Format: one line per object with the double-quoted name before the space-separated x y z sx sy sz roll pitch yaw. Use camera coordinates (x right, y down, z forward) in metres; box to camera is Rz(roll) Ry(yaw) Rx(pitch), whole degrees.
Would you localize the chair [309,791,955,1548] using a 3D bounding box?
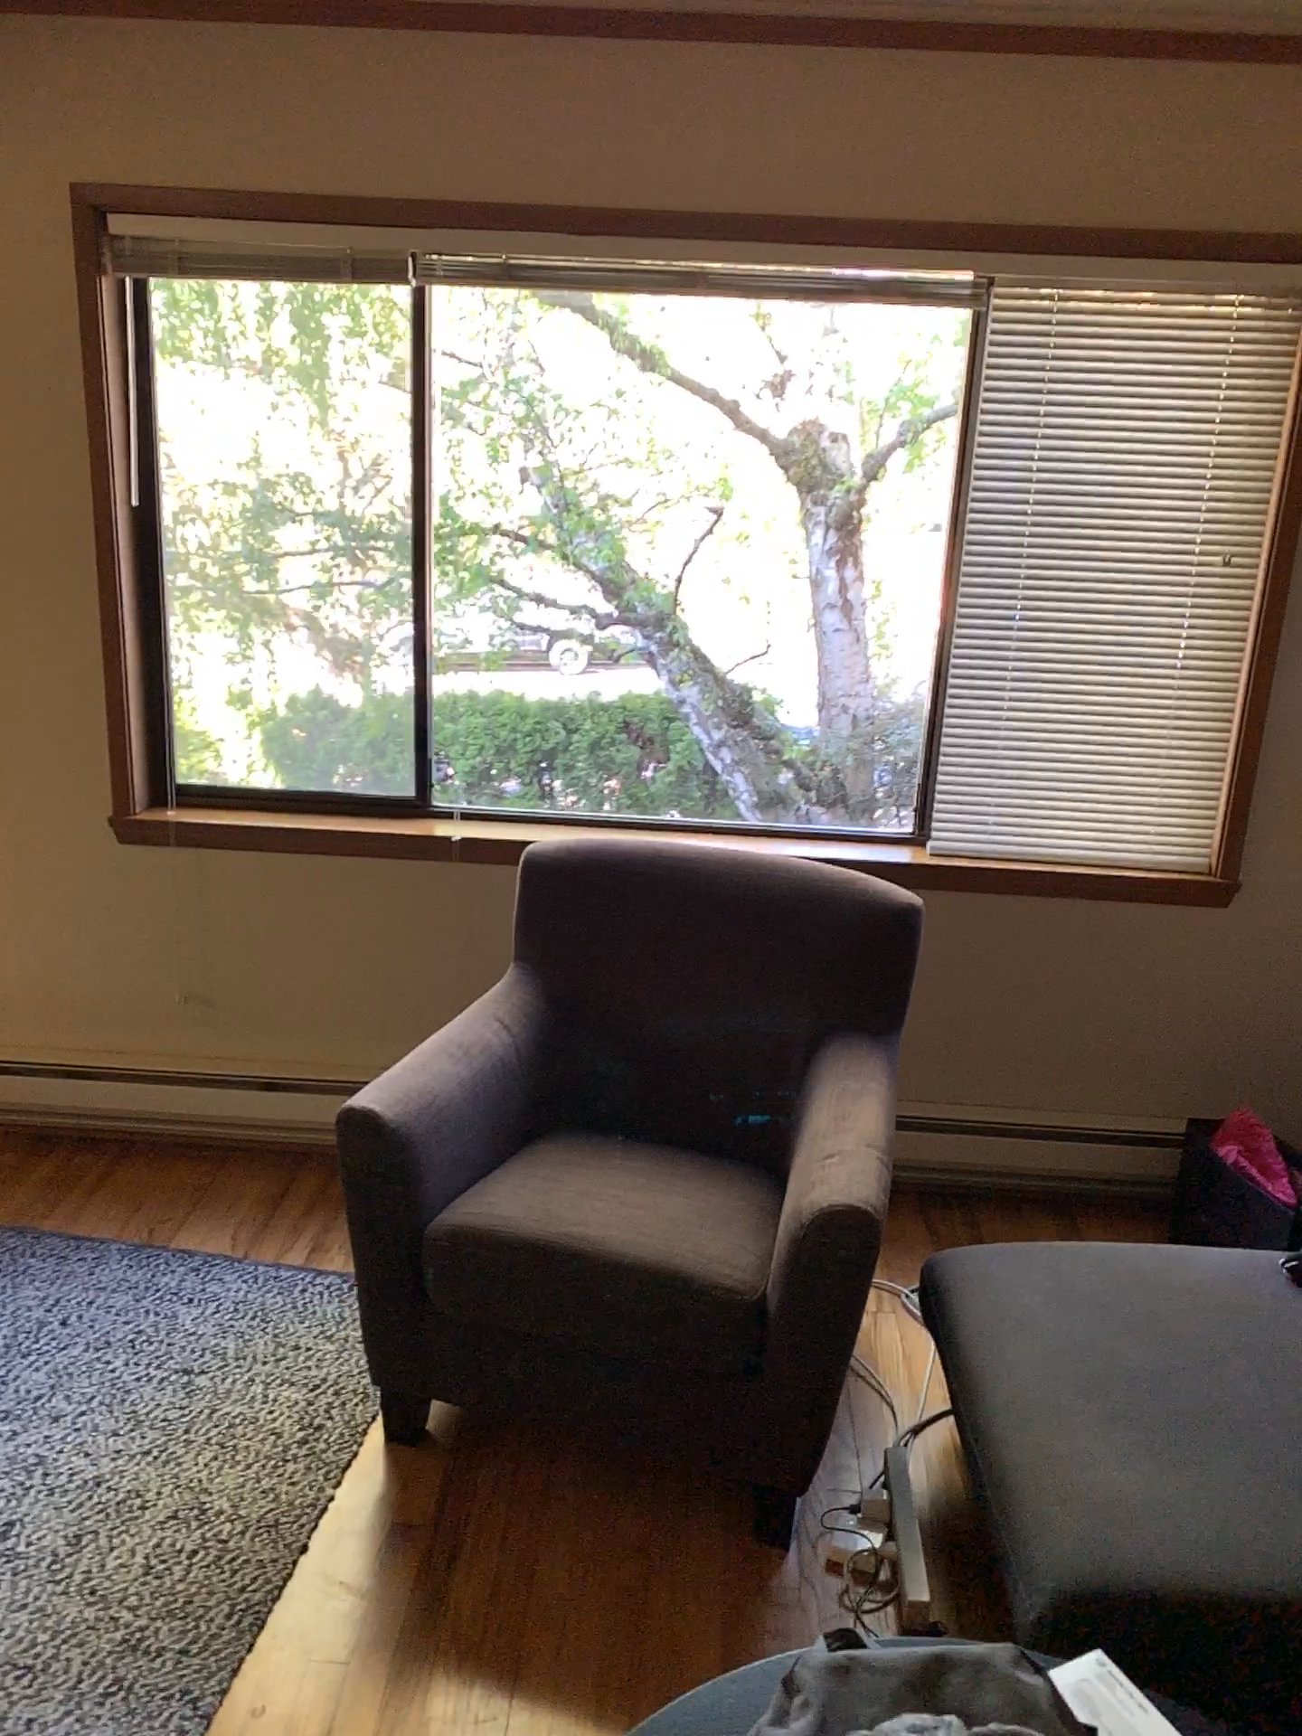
"chair" 0.005 0.414 2.296 0.881 0.877 0.802 7 14 15
